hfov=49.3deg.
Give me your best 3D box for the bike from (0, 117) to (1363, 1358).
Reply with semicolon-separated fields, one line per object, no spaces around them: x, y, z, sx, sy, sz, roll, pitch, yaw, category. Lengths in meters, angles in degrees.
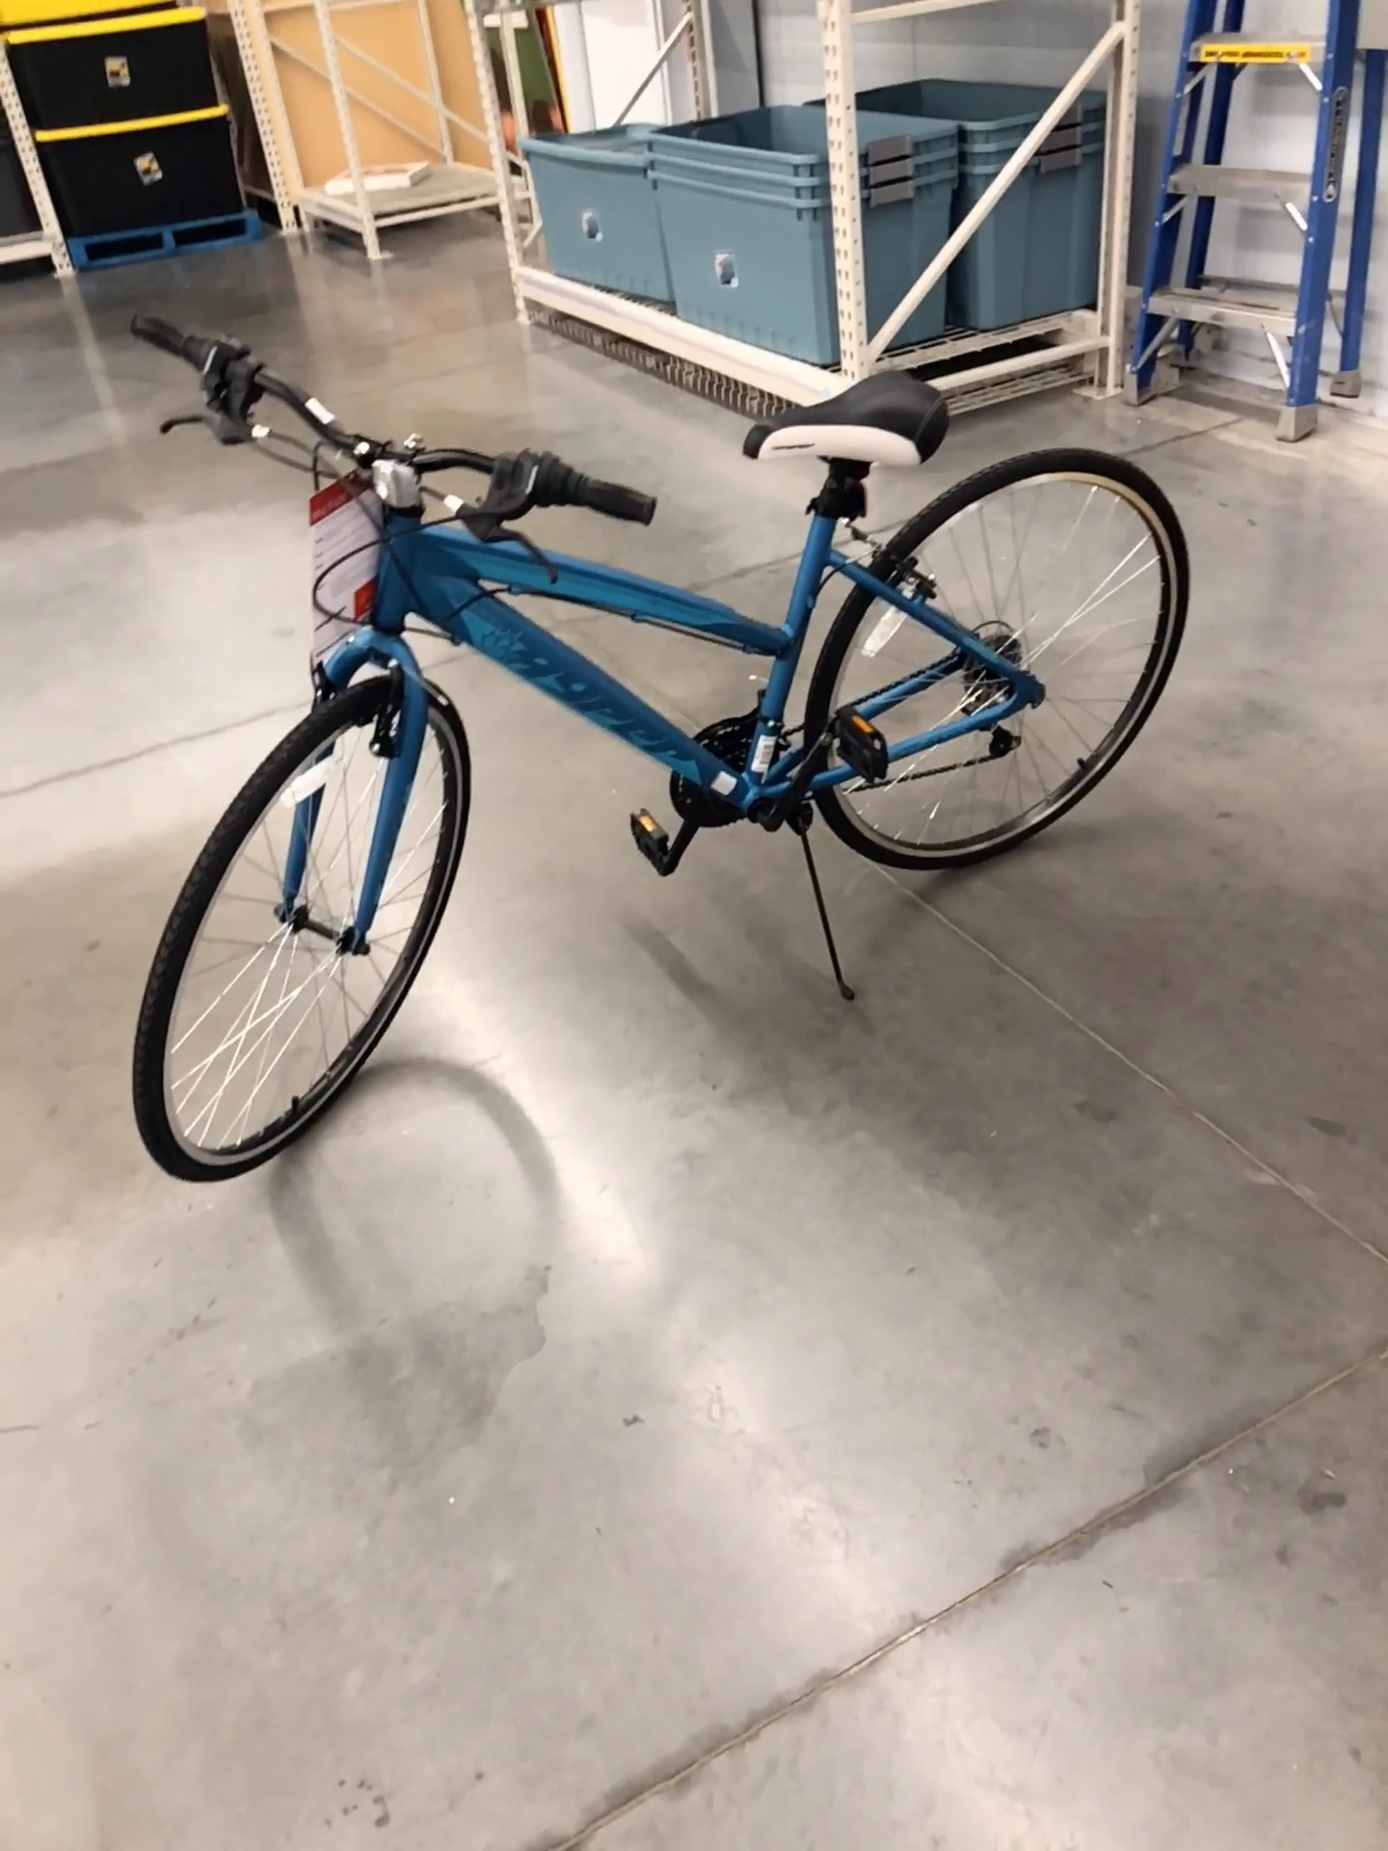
0.008;-0.354;1.905;1.606;0.978;0.580;-24;37;-26;bike
